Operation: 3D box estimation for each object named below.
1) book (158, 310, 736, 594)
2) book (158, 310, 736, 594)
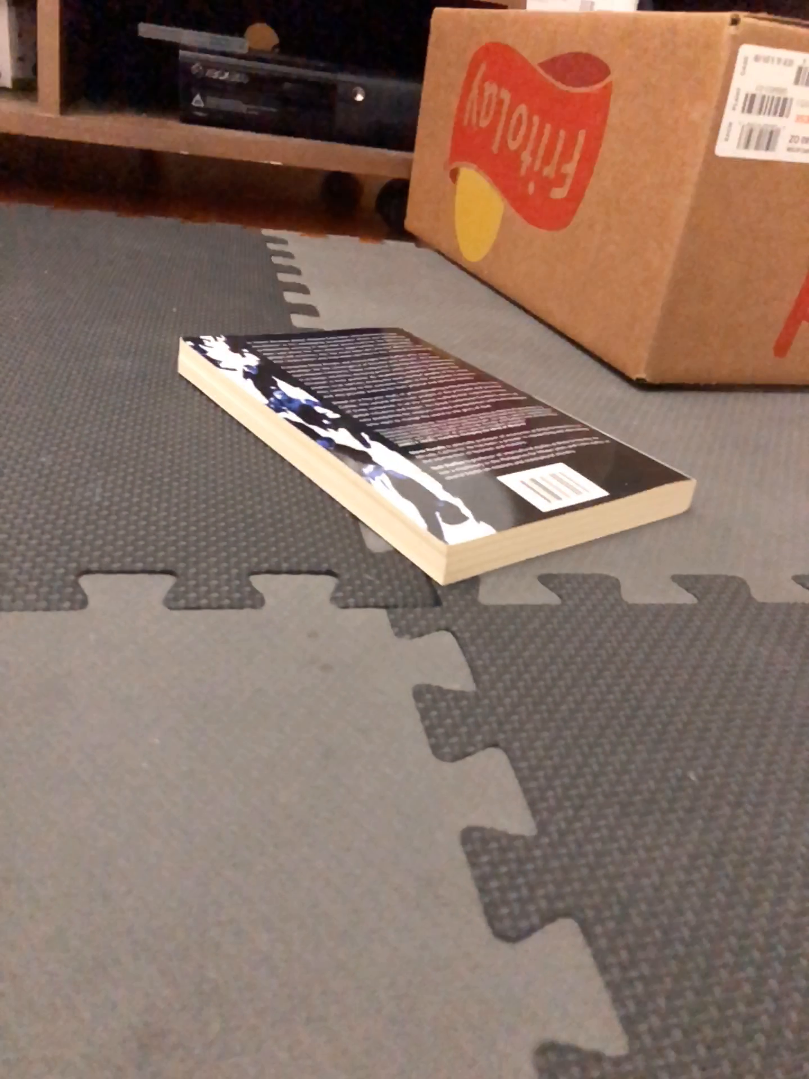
[{"bbox_3d":[0.007,-0.058,0.404,0.150,0.020,0.231,-14,36,-35],"label":"book"},{"bbox_3d":[0.007,-0.058,0.404,0.150,0.020,0.231,-14,36,-35],"label":"book"}]
